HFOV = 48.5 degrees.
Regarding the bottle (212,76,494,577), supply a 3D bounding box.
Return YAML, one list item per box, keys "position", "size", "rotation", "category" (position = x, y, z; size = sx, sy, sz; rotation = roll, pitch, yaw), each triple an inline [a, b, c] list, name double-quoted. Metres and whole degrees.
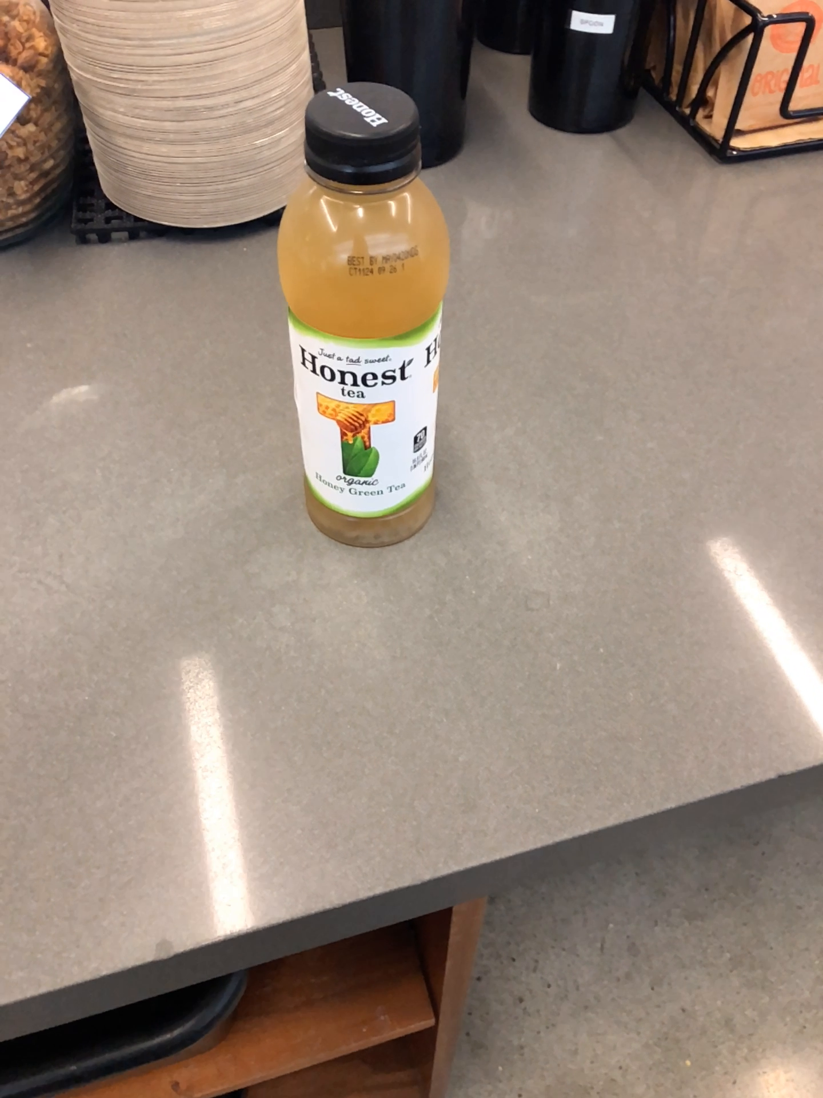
- position: [-0.018, -0.084, 0.395]
  size: [0.090, 0.189, 0.090]
  rotation: [0, 50, -1]
  category: "bottle"
